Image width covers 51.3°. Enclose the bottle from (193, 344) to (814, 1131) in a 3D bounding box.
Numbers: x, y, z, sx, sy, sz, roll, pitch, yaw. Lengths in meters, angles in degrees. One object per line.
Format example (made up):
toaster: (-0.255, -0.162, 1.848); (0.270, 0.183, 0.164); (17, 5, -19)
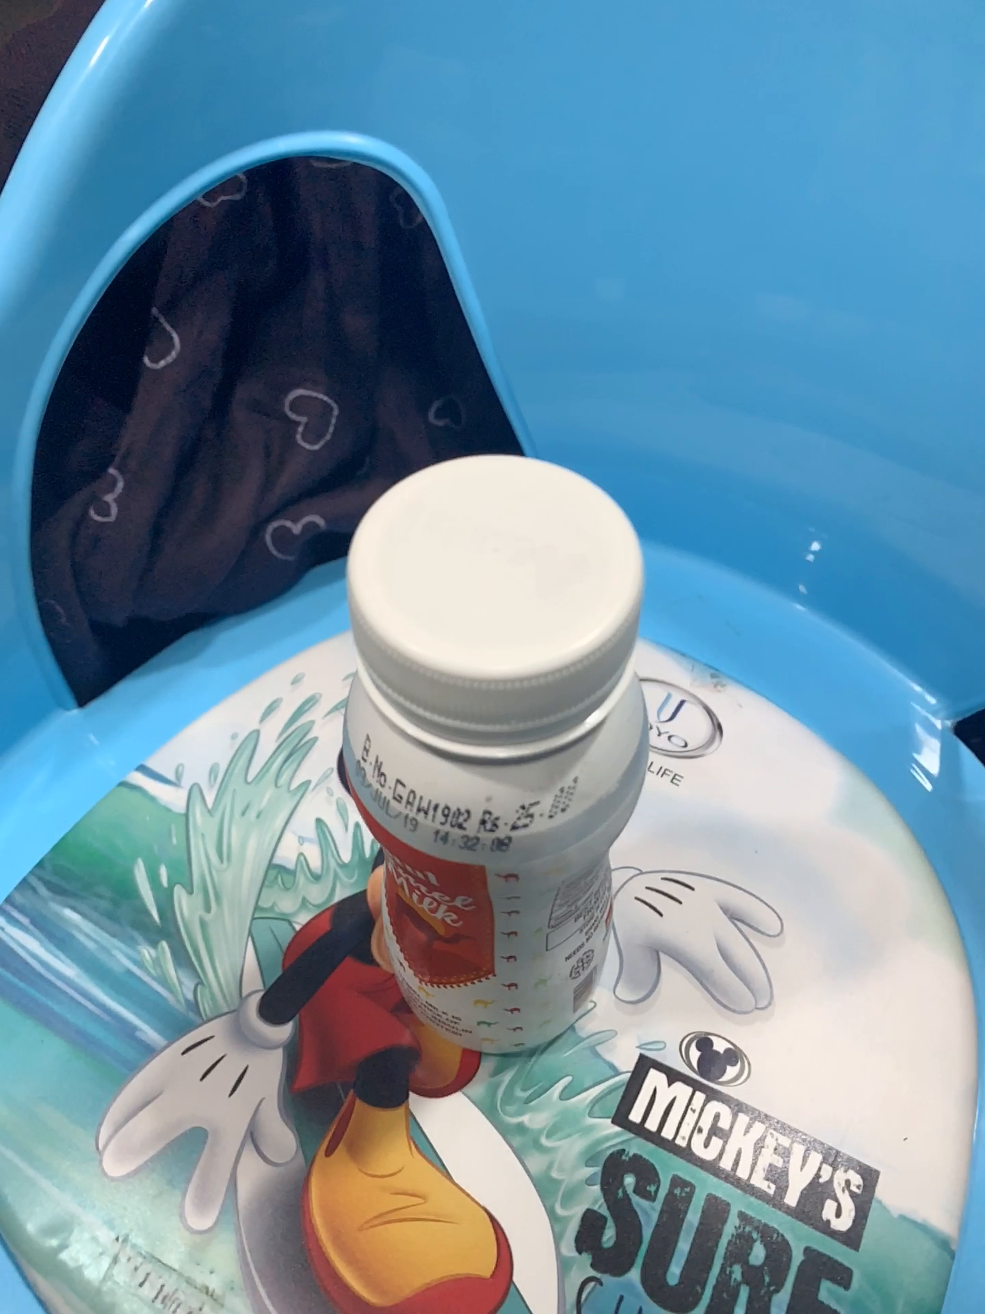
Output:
bottle: (0.001, 0.023, 0.189); (0.060, 0.130, 0.060); (1, 50, -1)
